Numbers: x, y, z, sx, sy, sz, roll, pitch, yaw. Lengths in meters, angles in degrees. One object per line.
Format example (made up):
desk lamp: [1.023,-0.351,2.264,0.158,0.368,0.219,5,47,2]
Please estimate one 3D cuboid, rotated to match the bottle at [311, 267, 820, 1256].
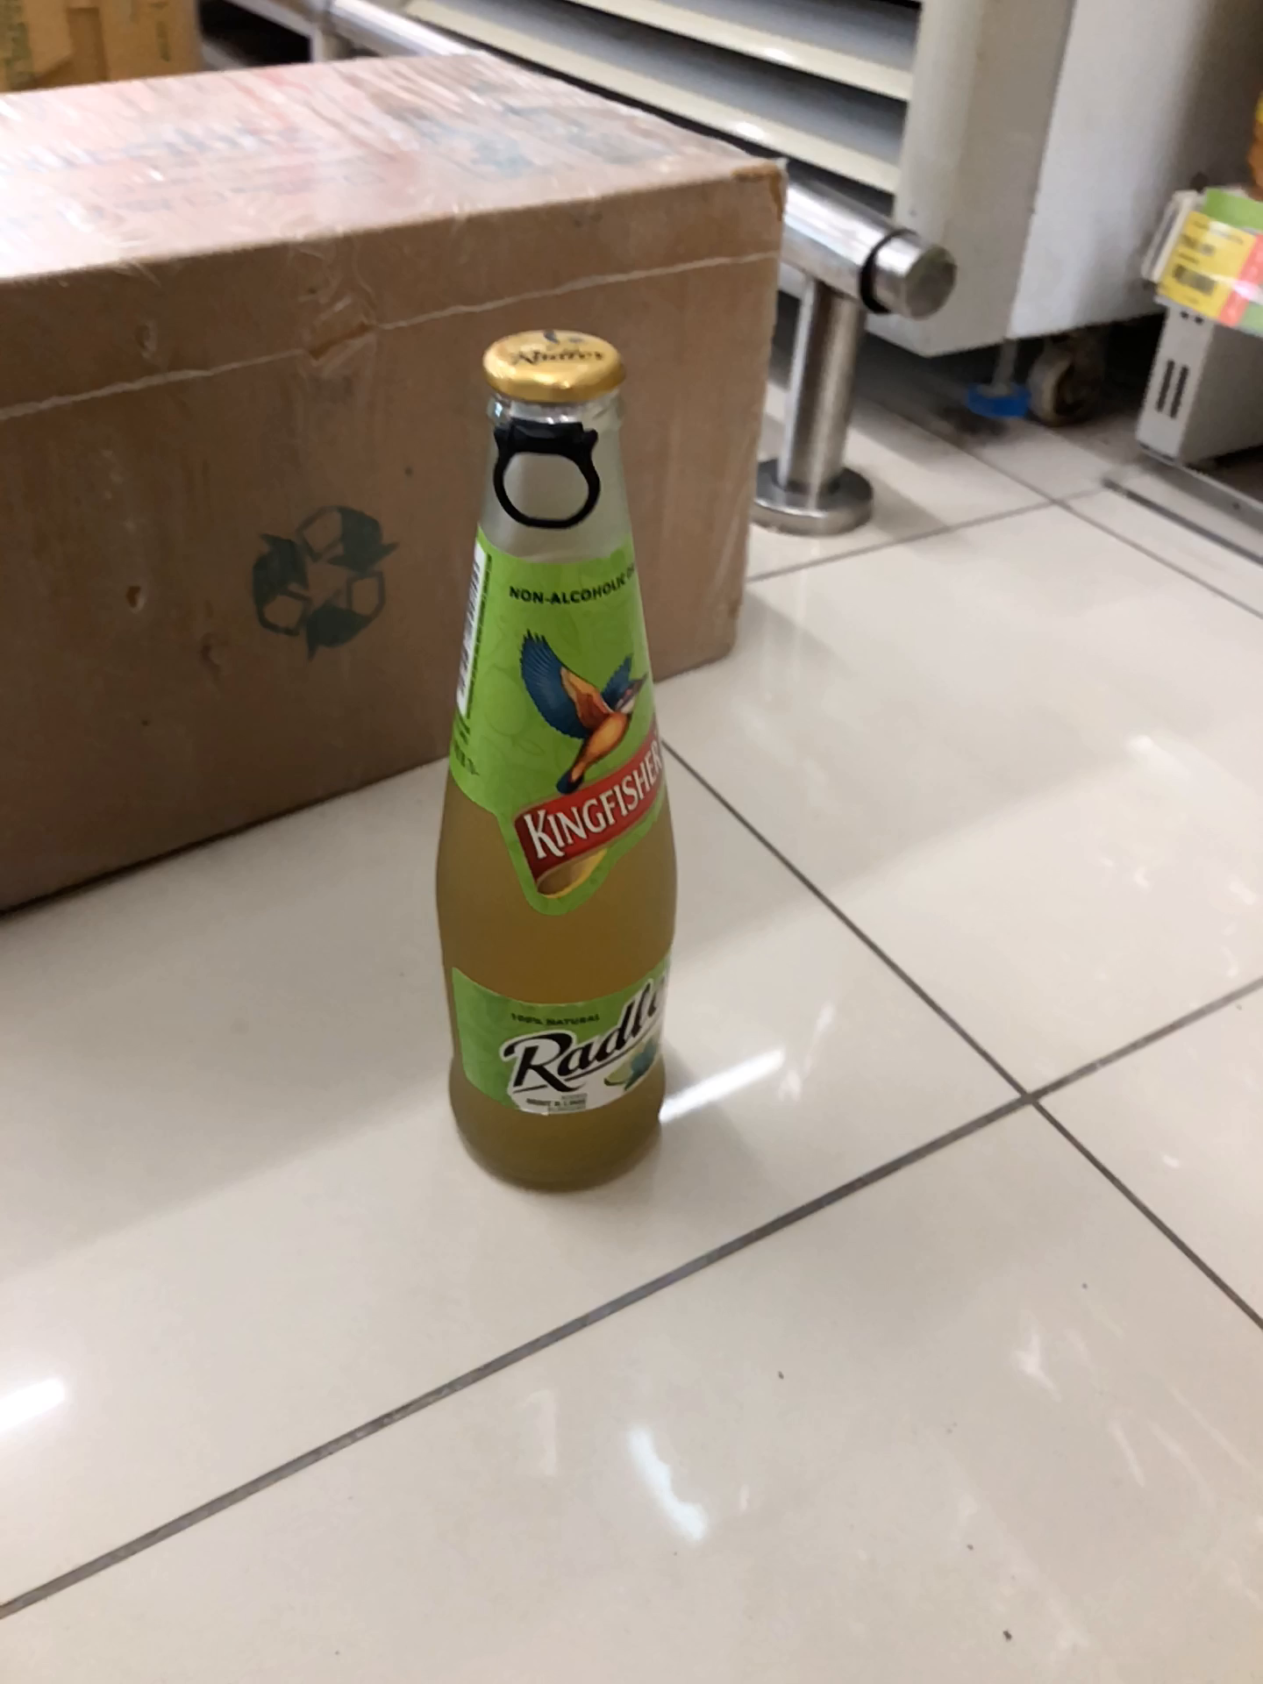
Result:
bottle: [-0.016,-0.008,0.314,0.070,0.209,0.060,-20,43,-26]
